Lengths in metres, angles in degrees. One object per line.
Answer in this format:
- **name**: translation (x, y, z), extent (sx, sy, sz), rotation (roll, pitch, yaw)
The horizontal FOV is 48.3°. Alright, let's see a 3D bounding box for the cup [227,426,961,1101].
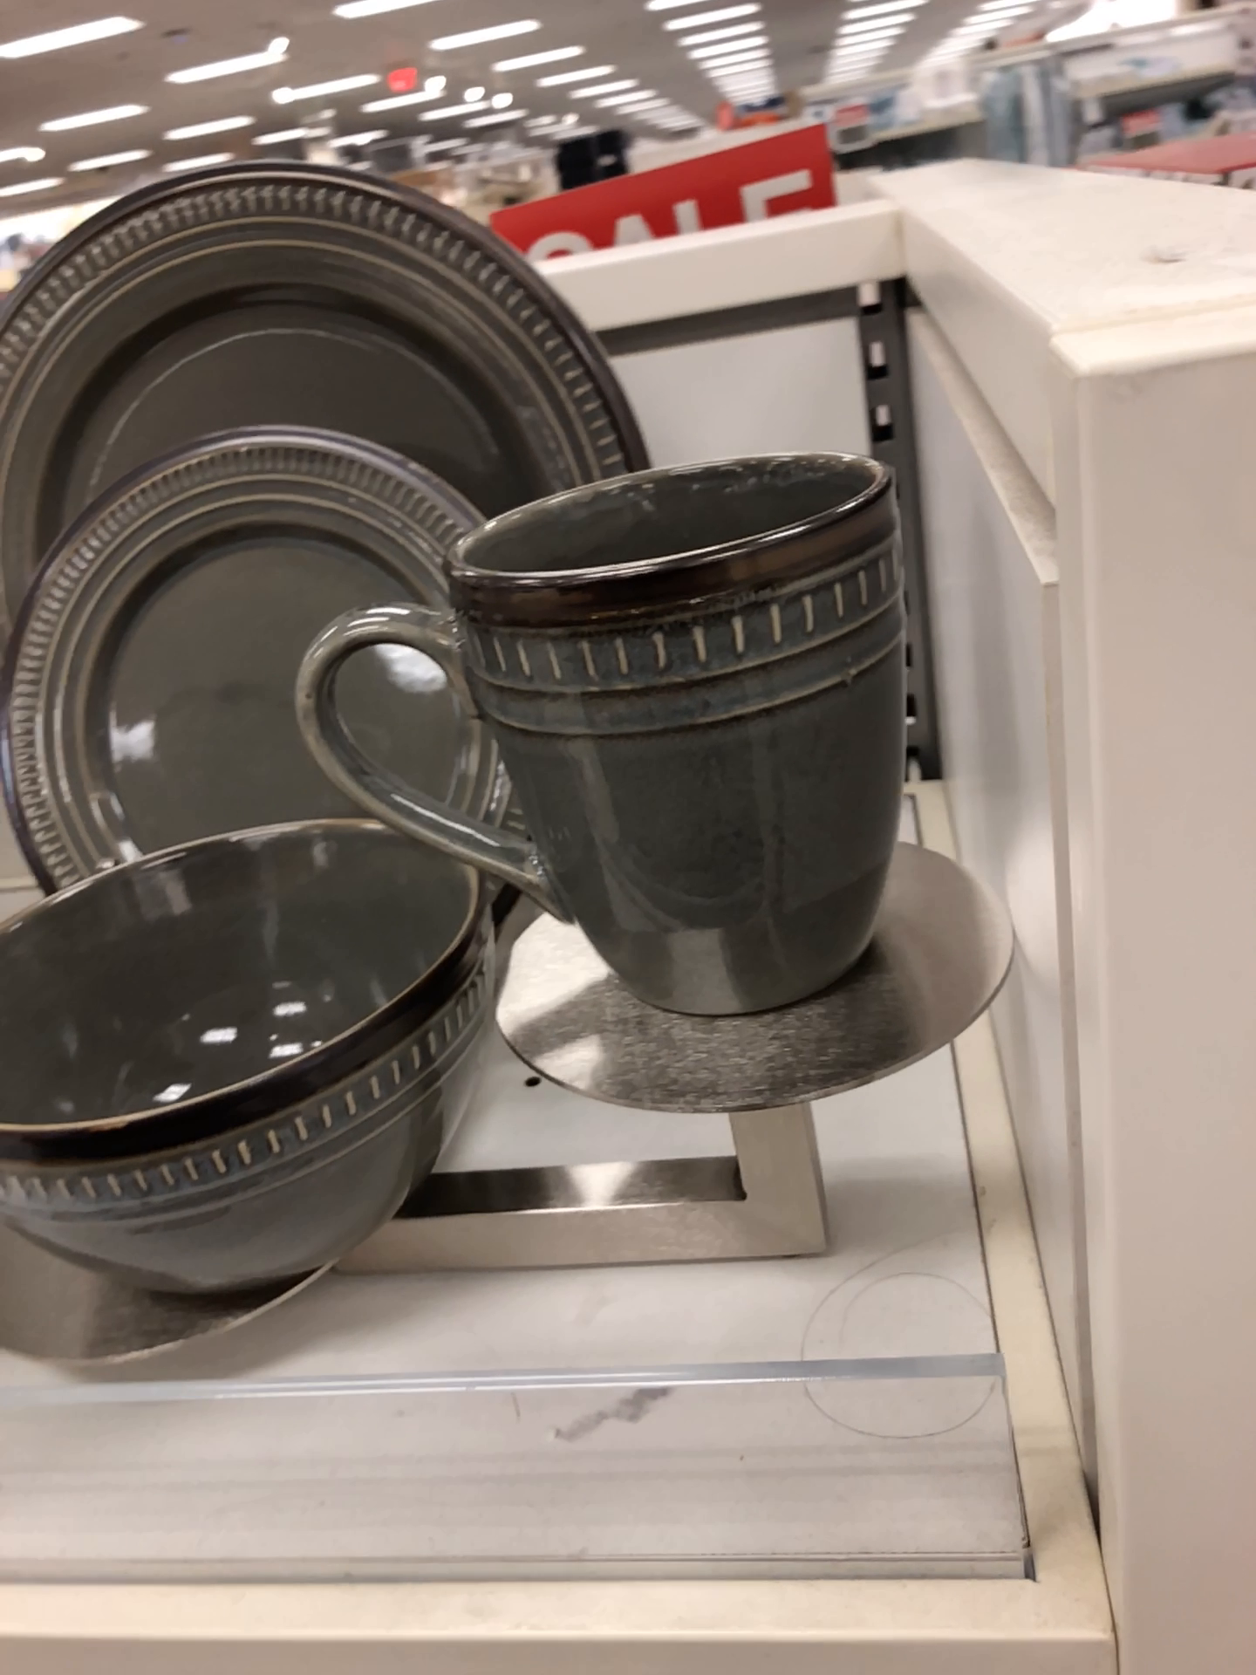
- **cup**: translation (-0.003, -0.021, 0.314), extent (0.126, 0.106, 0.089), rotation (-10, 24, 2)
